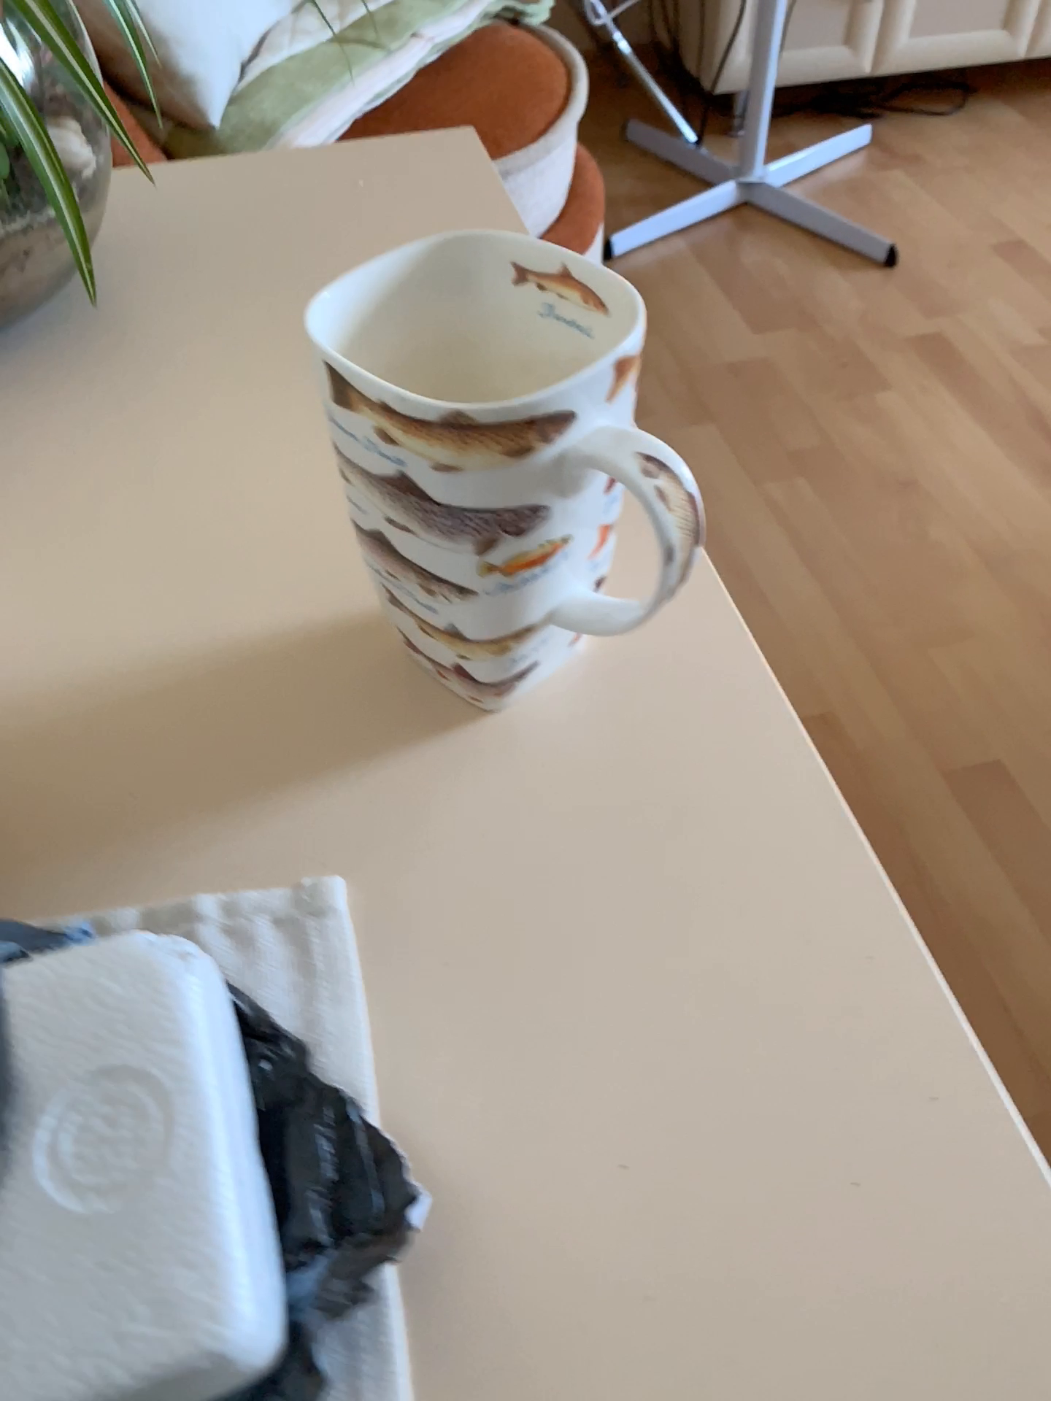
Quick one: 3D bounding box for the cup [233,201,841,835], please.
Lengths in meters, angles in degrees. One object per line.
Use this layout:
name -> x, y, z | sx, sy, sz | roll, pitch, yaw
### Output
cup -> 0.001, -0.059, 0.338 | 0.139, 0.121, 0.092 | 33, 57, 27
